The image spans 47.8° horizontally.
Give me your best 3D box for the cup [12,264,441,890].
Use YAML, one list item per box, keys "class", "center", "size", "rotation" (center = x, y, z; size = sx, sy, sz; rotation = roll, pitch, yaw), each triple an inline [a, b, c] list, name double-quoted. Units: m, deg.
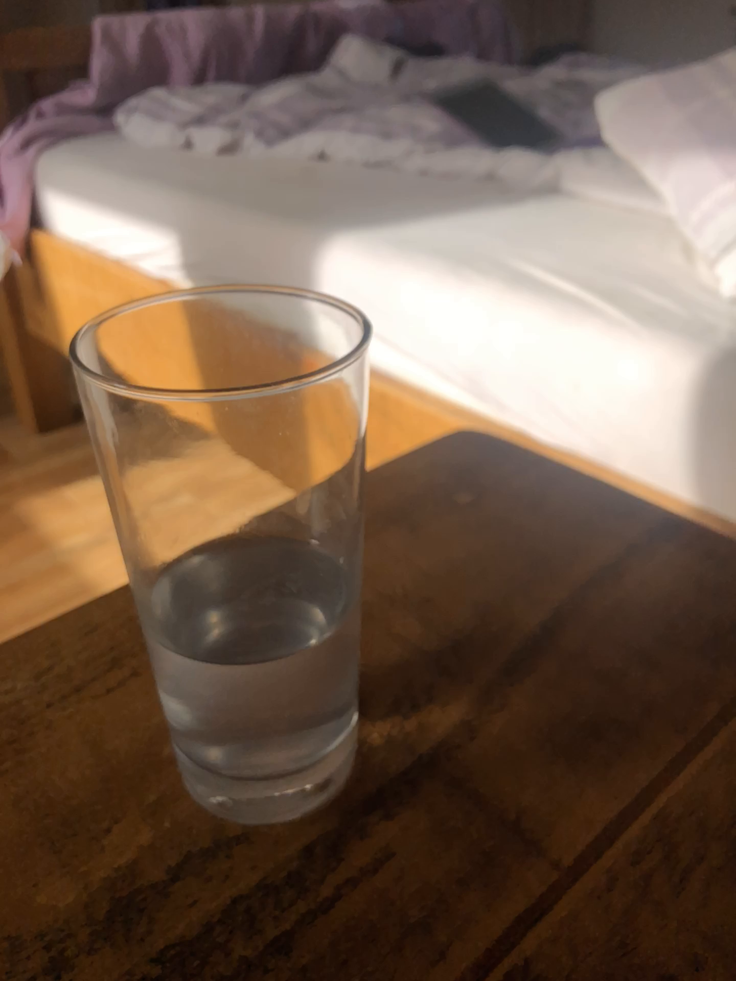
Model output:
- class: "cup"
  center: [-0.033, 0.024, 0.247]
  size: [0.077, 0.152, 0.074]
  rotation: [-1, 31, 0]
